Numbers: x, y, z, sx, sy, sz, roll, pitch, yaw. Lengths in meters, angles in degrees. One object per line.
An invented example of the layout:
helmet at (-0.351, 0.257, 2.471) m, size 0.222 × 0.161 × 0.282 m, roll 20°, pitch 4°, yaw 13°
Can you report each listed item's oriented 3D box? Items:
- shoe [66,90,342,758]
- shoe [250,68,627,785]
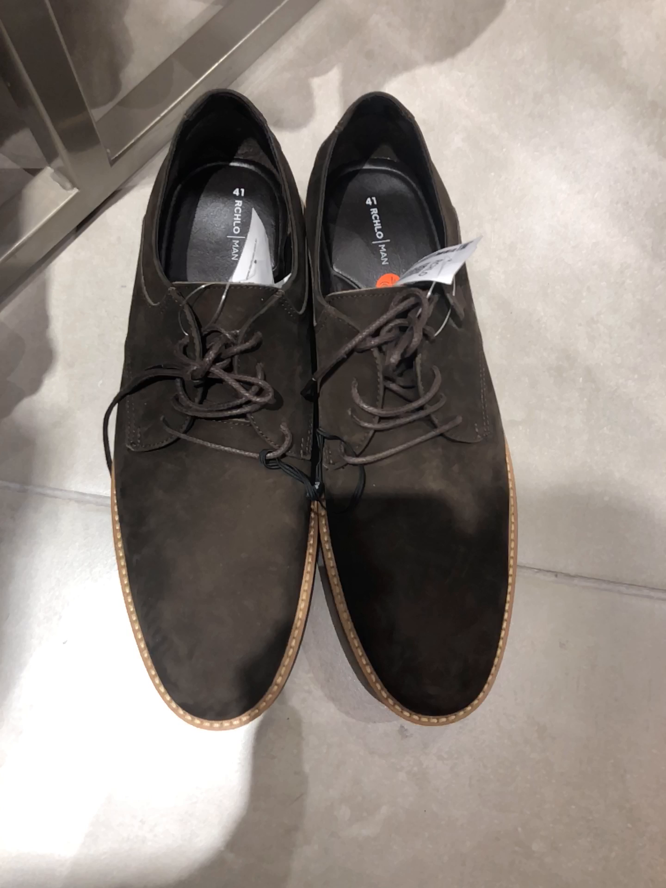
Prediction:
shoe at (-0.057, -0.011, 0.383) m, size 0.110 × 0.120 × 0.300 m, roll -1°, pitch 79°, yaw -3°
shoe at (0.036, -0.012, 0.371) m, size 0.110 × 0.120 × 0.300 m, roll -8°, pitch 79°, yaw -5°
